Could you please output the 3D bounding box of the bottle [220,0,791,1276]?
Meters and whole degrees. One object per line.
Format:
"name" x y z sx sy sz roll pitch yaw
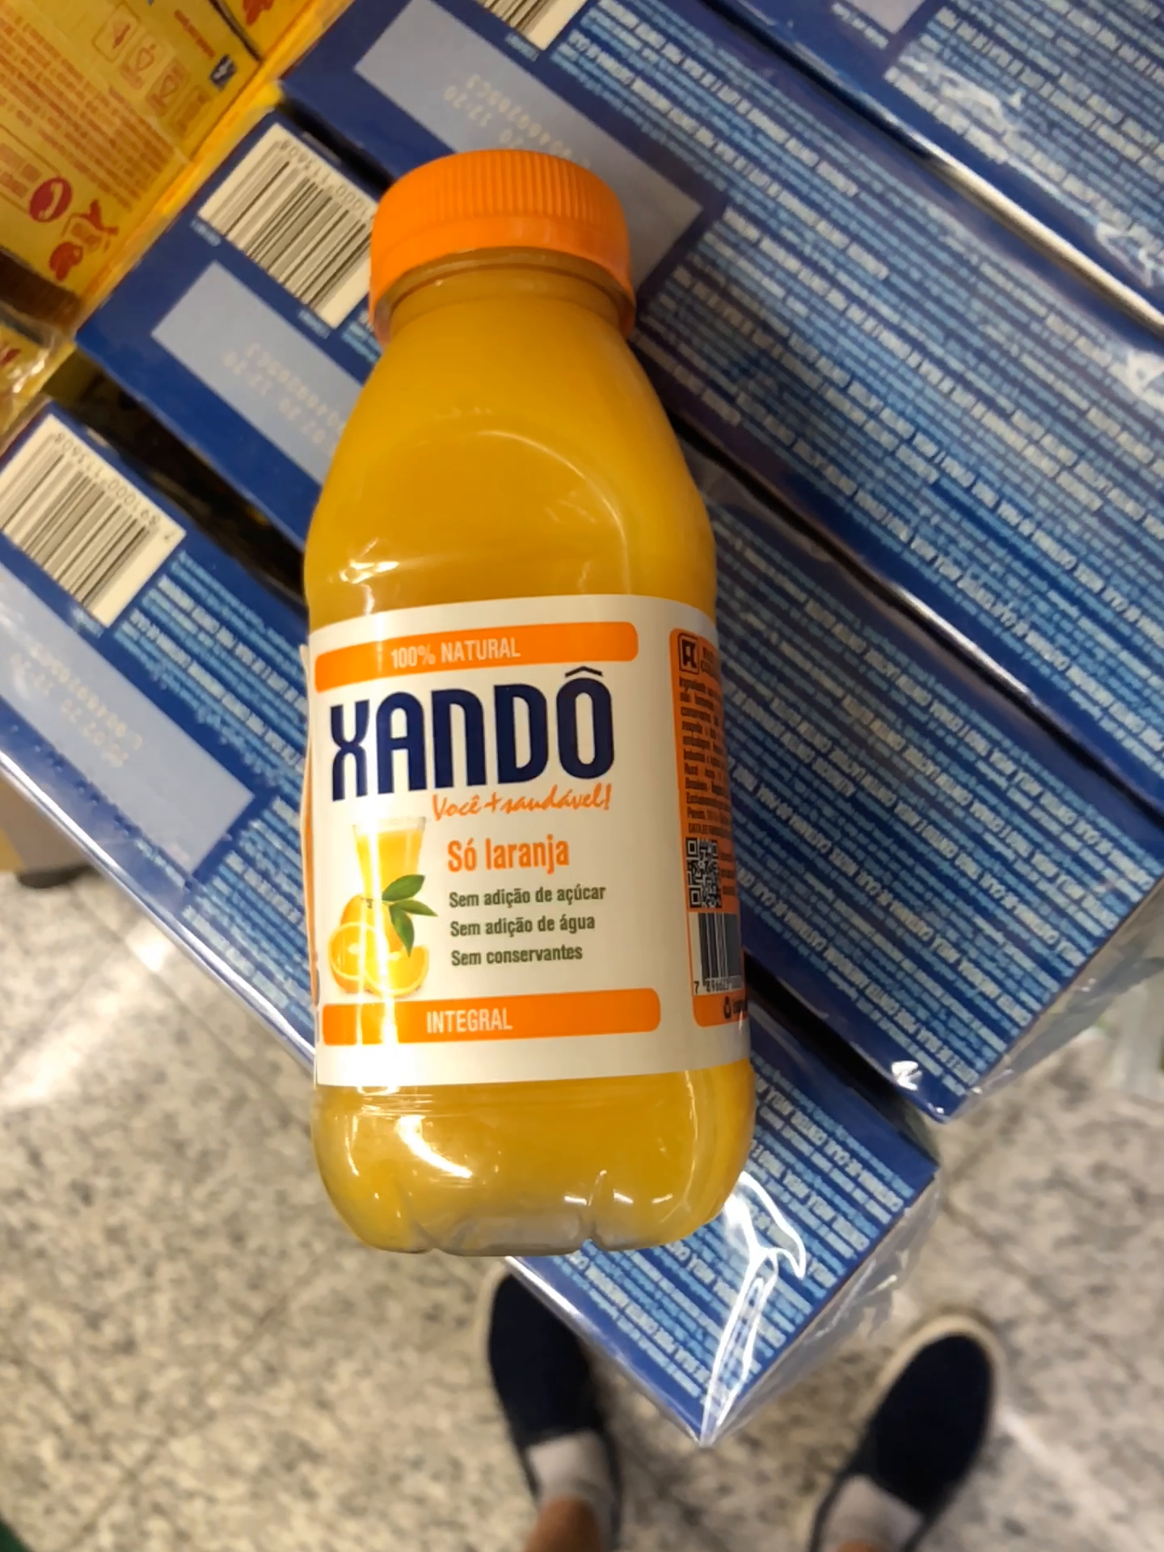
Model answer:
"bottle" -0.006 -0.023 0.201 0.060 0.080 0.170 -5 85 9
